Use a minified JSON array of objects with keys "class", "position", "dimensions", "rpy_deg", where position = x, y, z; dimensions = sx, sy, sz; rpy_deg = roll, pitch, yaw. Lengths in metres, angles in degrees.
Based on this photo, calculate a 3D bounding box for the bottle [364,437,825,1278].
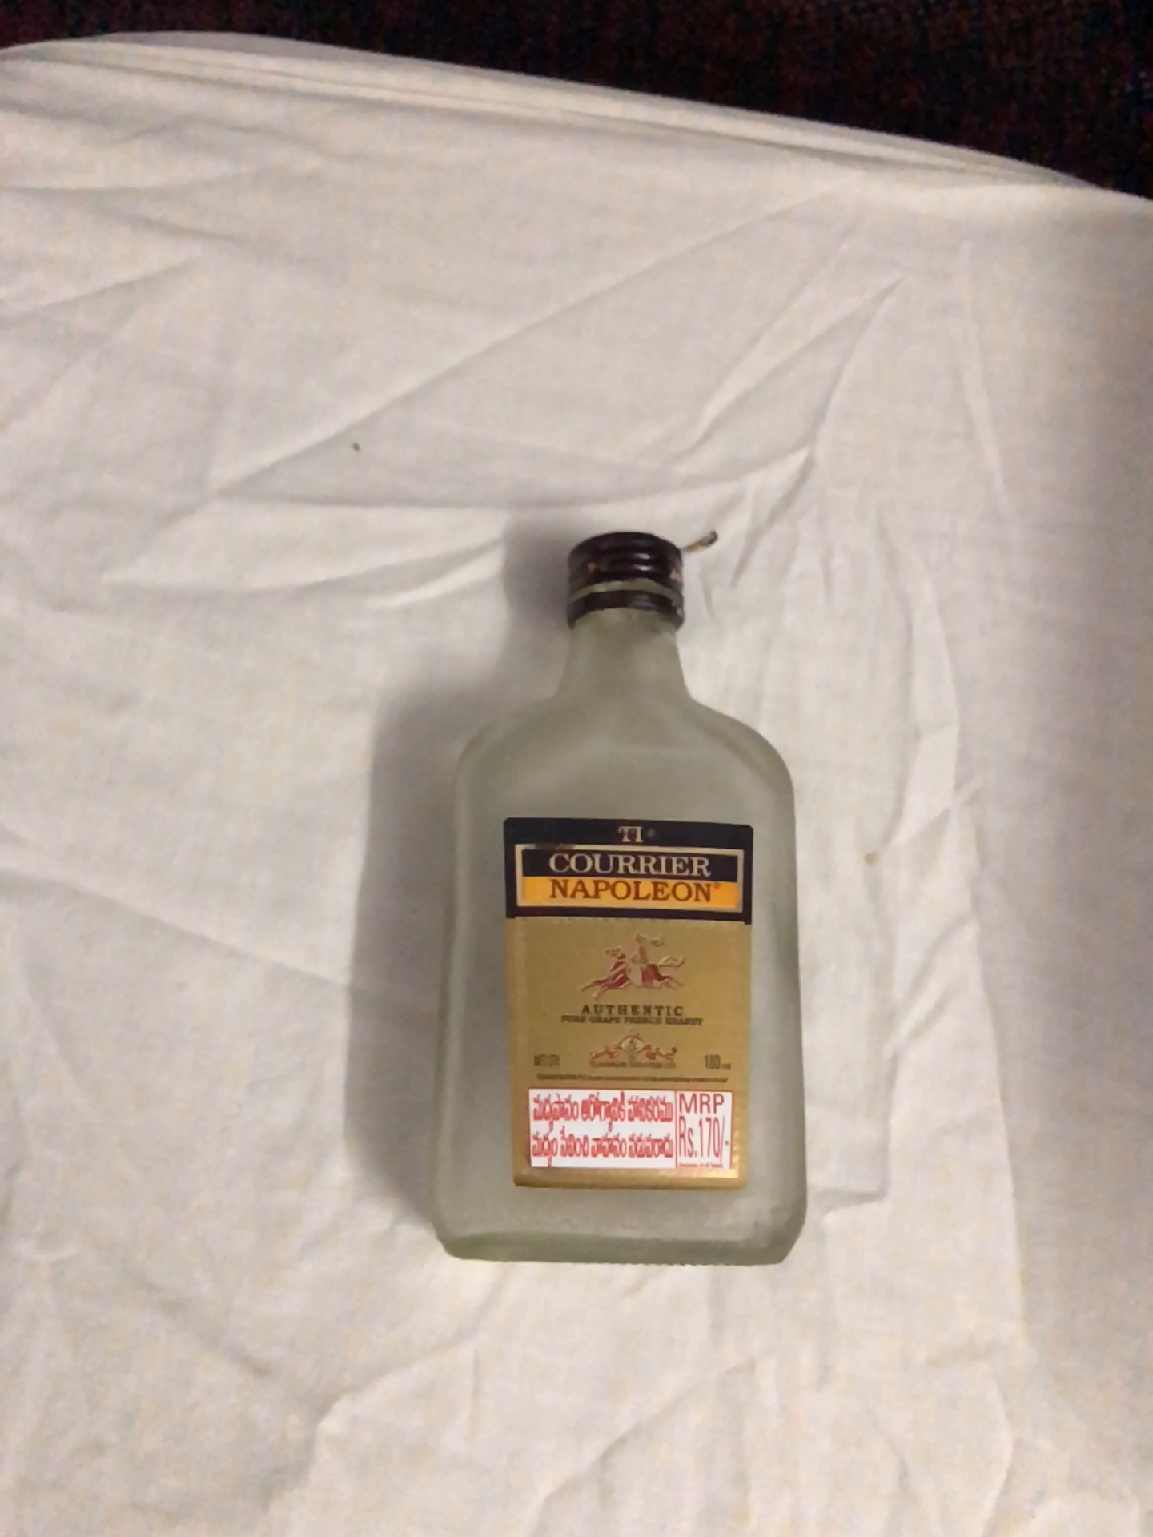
[{"class":"bottle","position":[0.003,0.016,0.264],"dimensions":[0.080,0.040,0.160],"rpy_deg":[3,73,-5]}]
